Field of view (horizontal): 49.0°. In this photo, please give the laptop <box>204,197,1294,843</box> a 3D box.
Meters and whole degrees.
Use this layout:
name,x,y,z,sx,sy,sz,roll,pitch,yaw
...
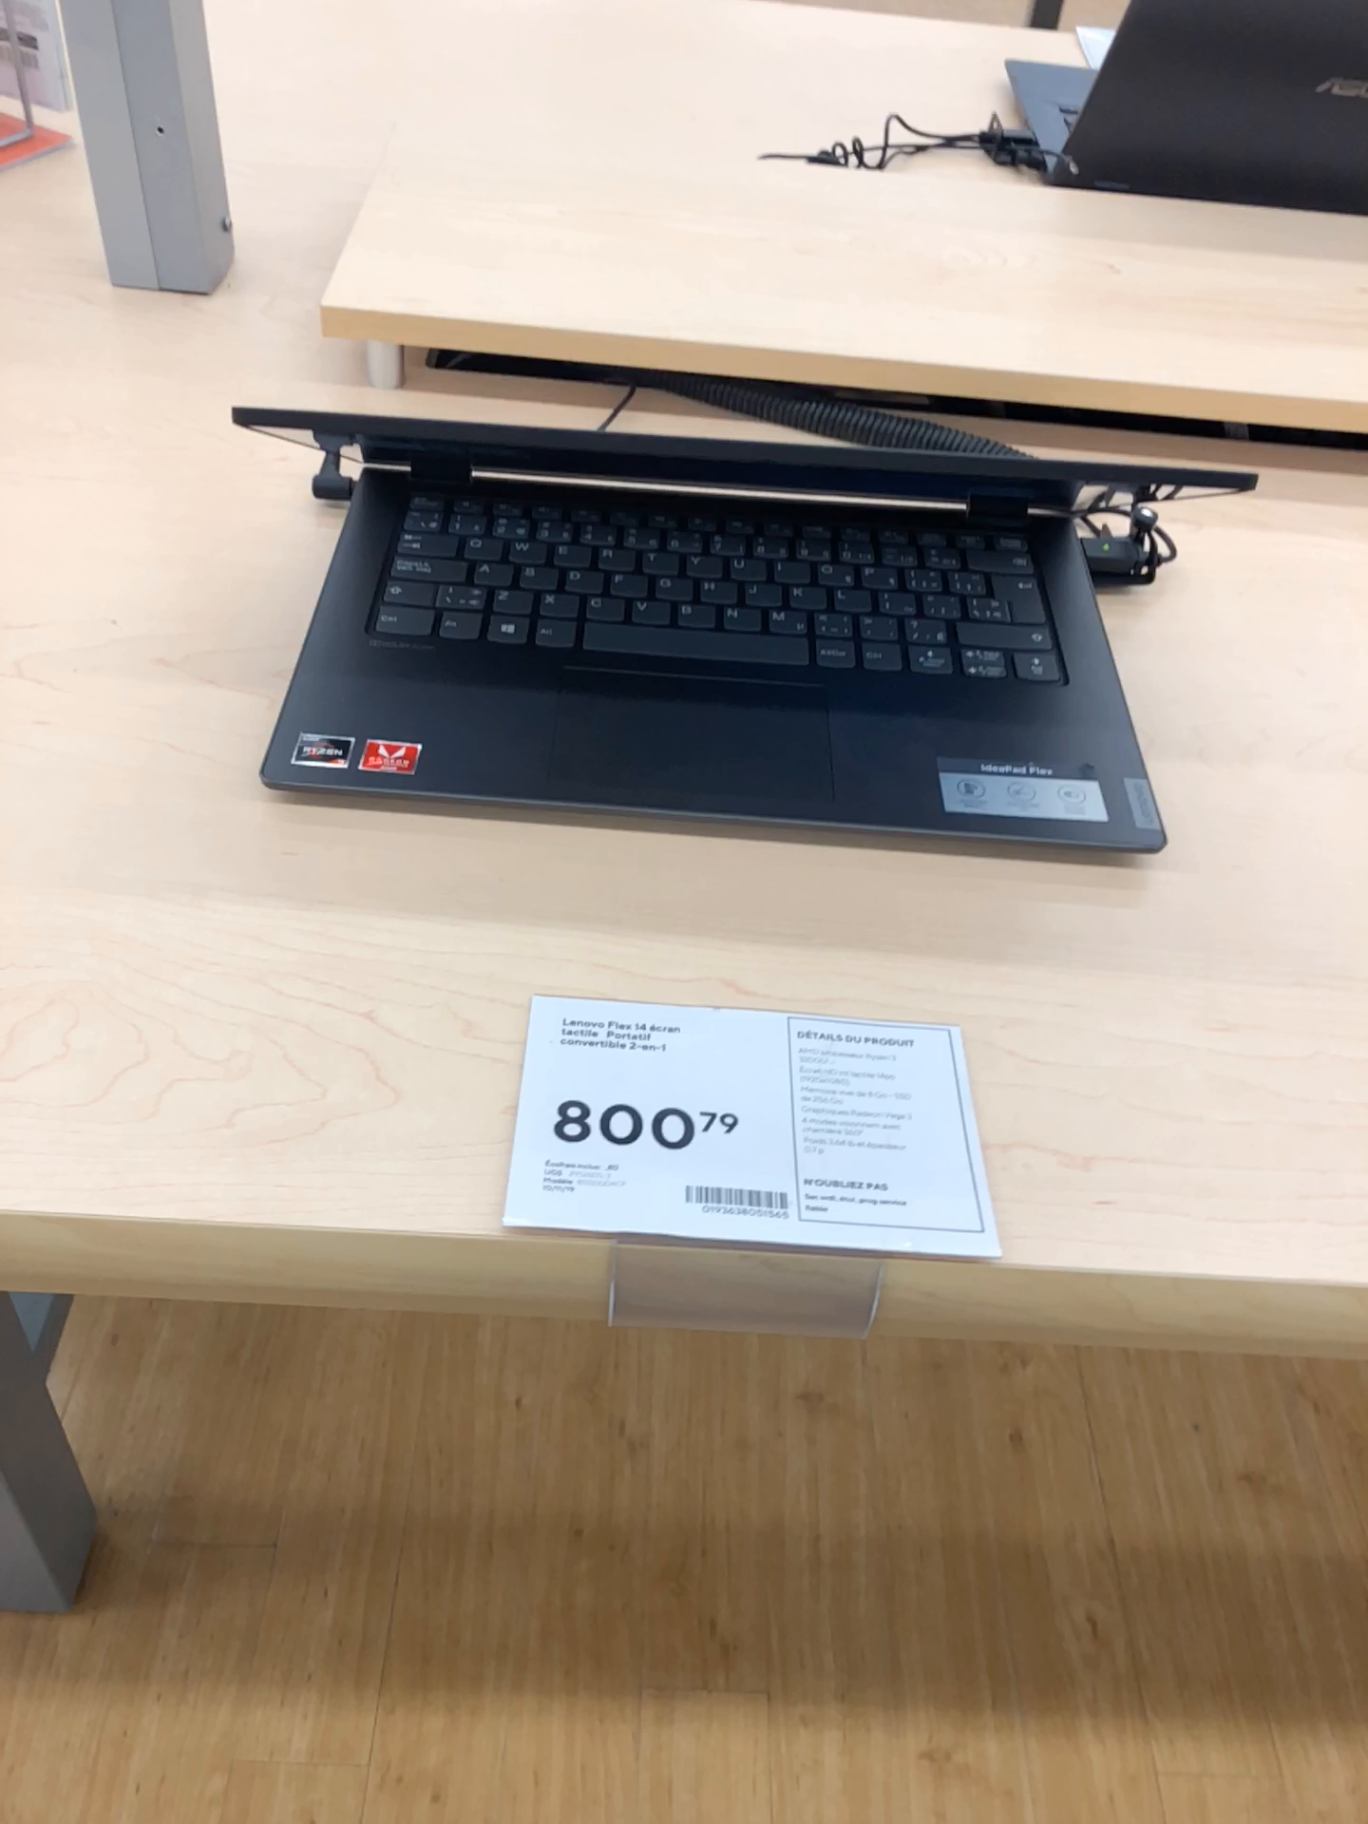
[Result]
name,x,y,z,sx,sy,sz,roll,pitch,yaw
laptop,0.021,-0.158,0.578,0.331,0.121,0.229,4,45,-3
